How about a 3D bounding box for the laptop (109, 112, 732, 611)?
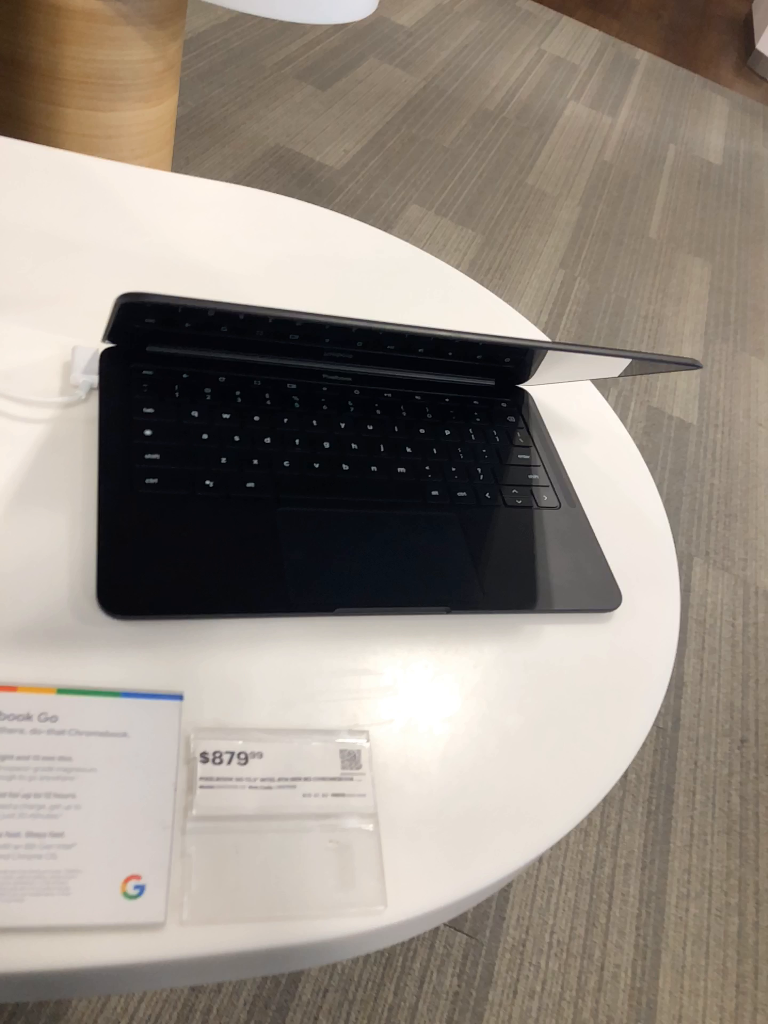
[{"bbox_3d":[0.001,-0.071,0.457,0.278,0.147,0.192,2,49,-23],"label":"laptop"}]
